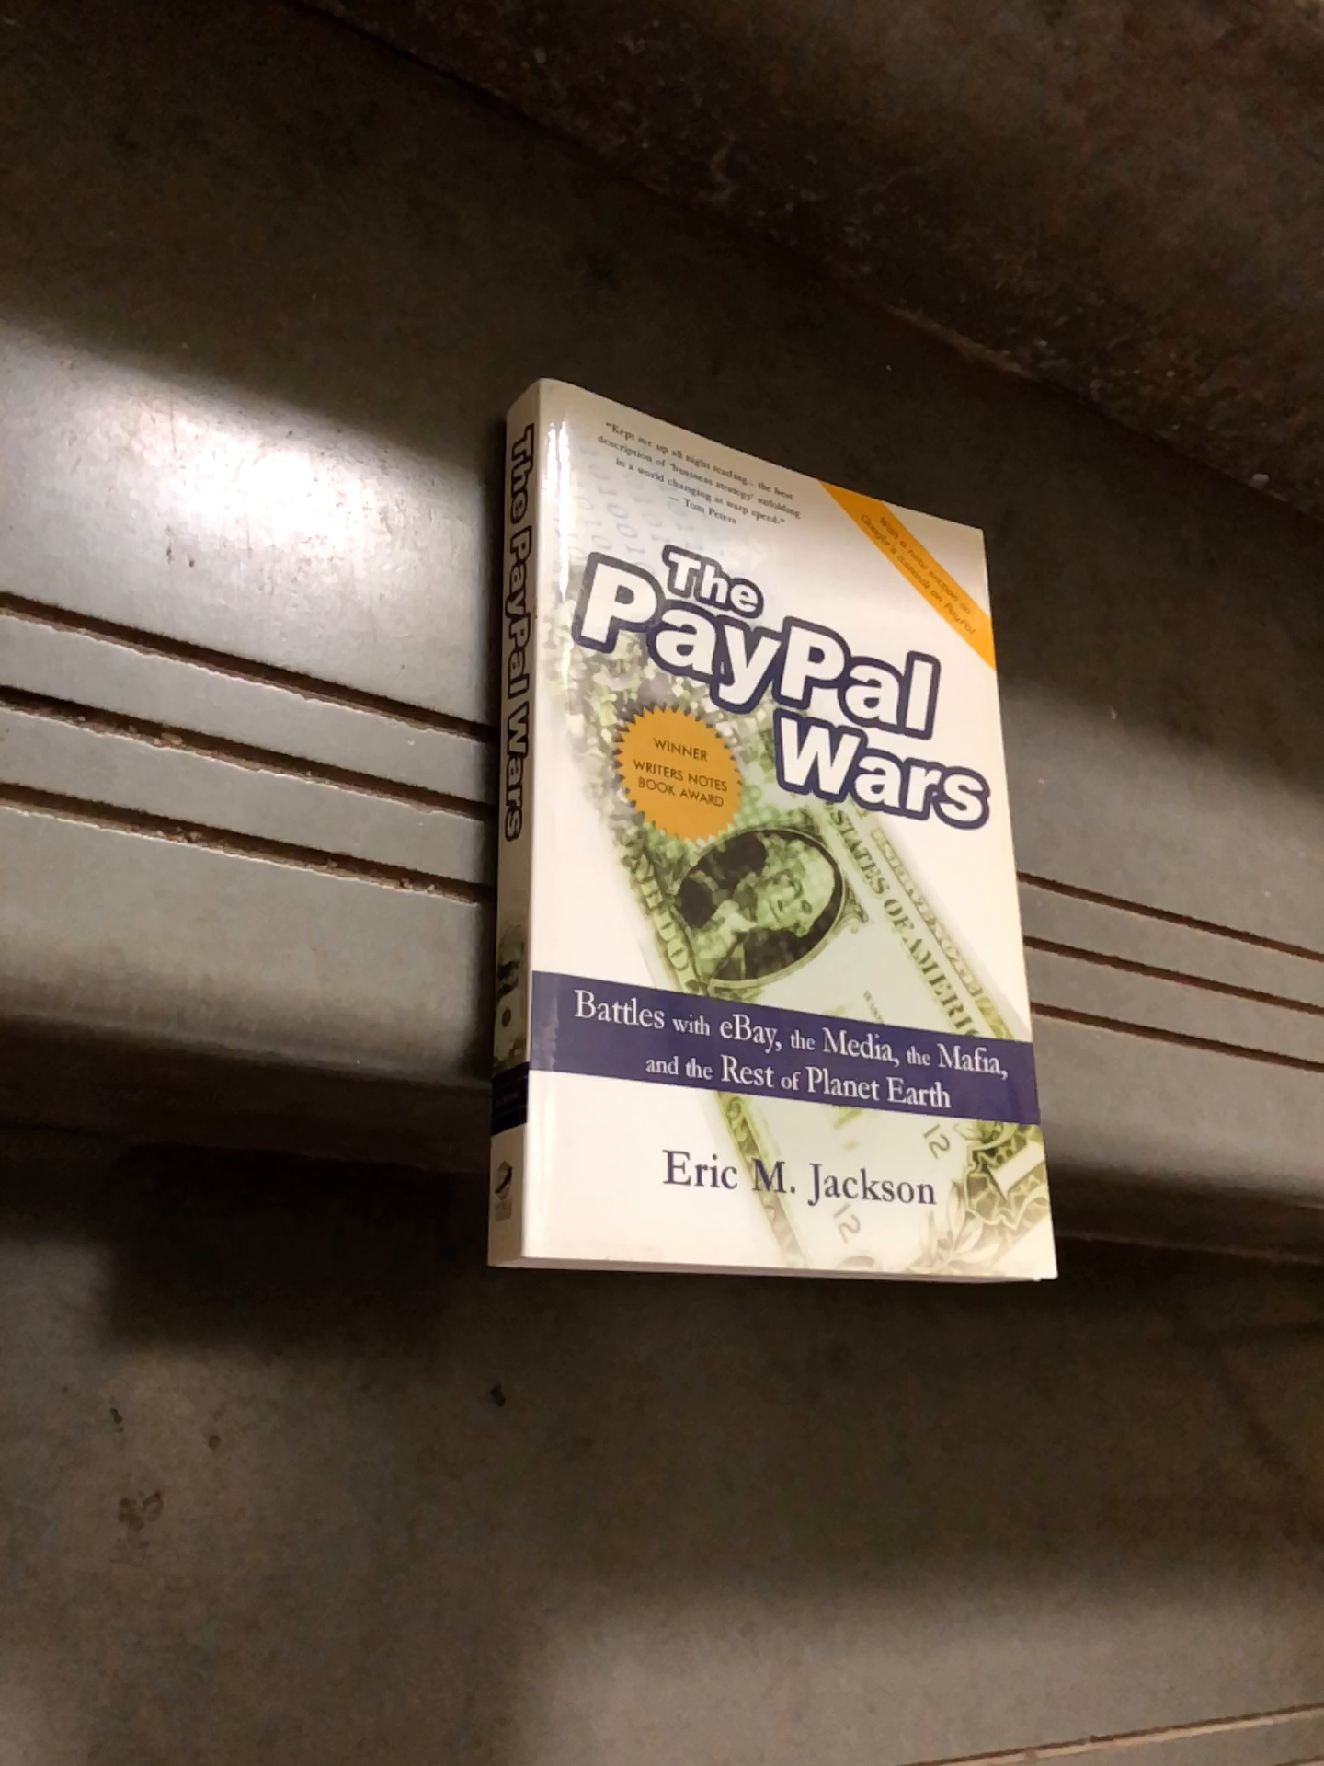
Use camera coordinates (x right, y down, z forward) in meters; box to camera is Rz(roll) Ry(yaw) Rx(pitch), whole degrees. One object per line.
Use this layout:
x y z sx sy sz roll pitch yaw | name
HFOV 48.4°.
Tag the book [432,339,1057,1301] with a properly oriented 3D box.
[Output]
0.022 -0.011 0.369 0.151 0.030 0.220 10 68 -30 | book
